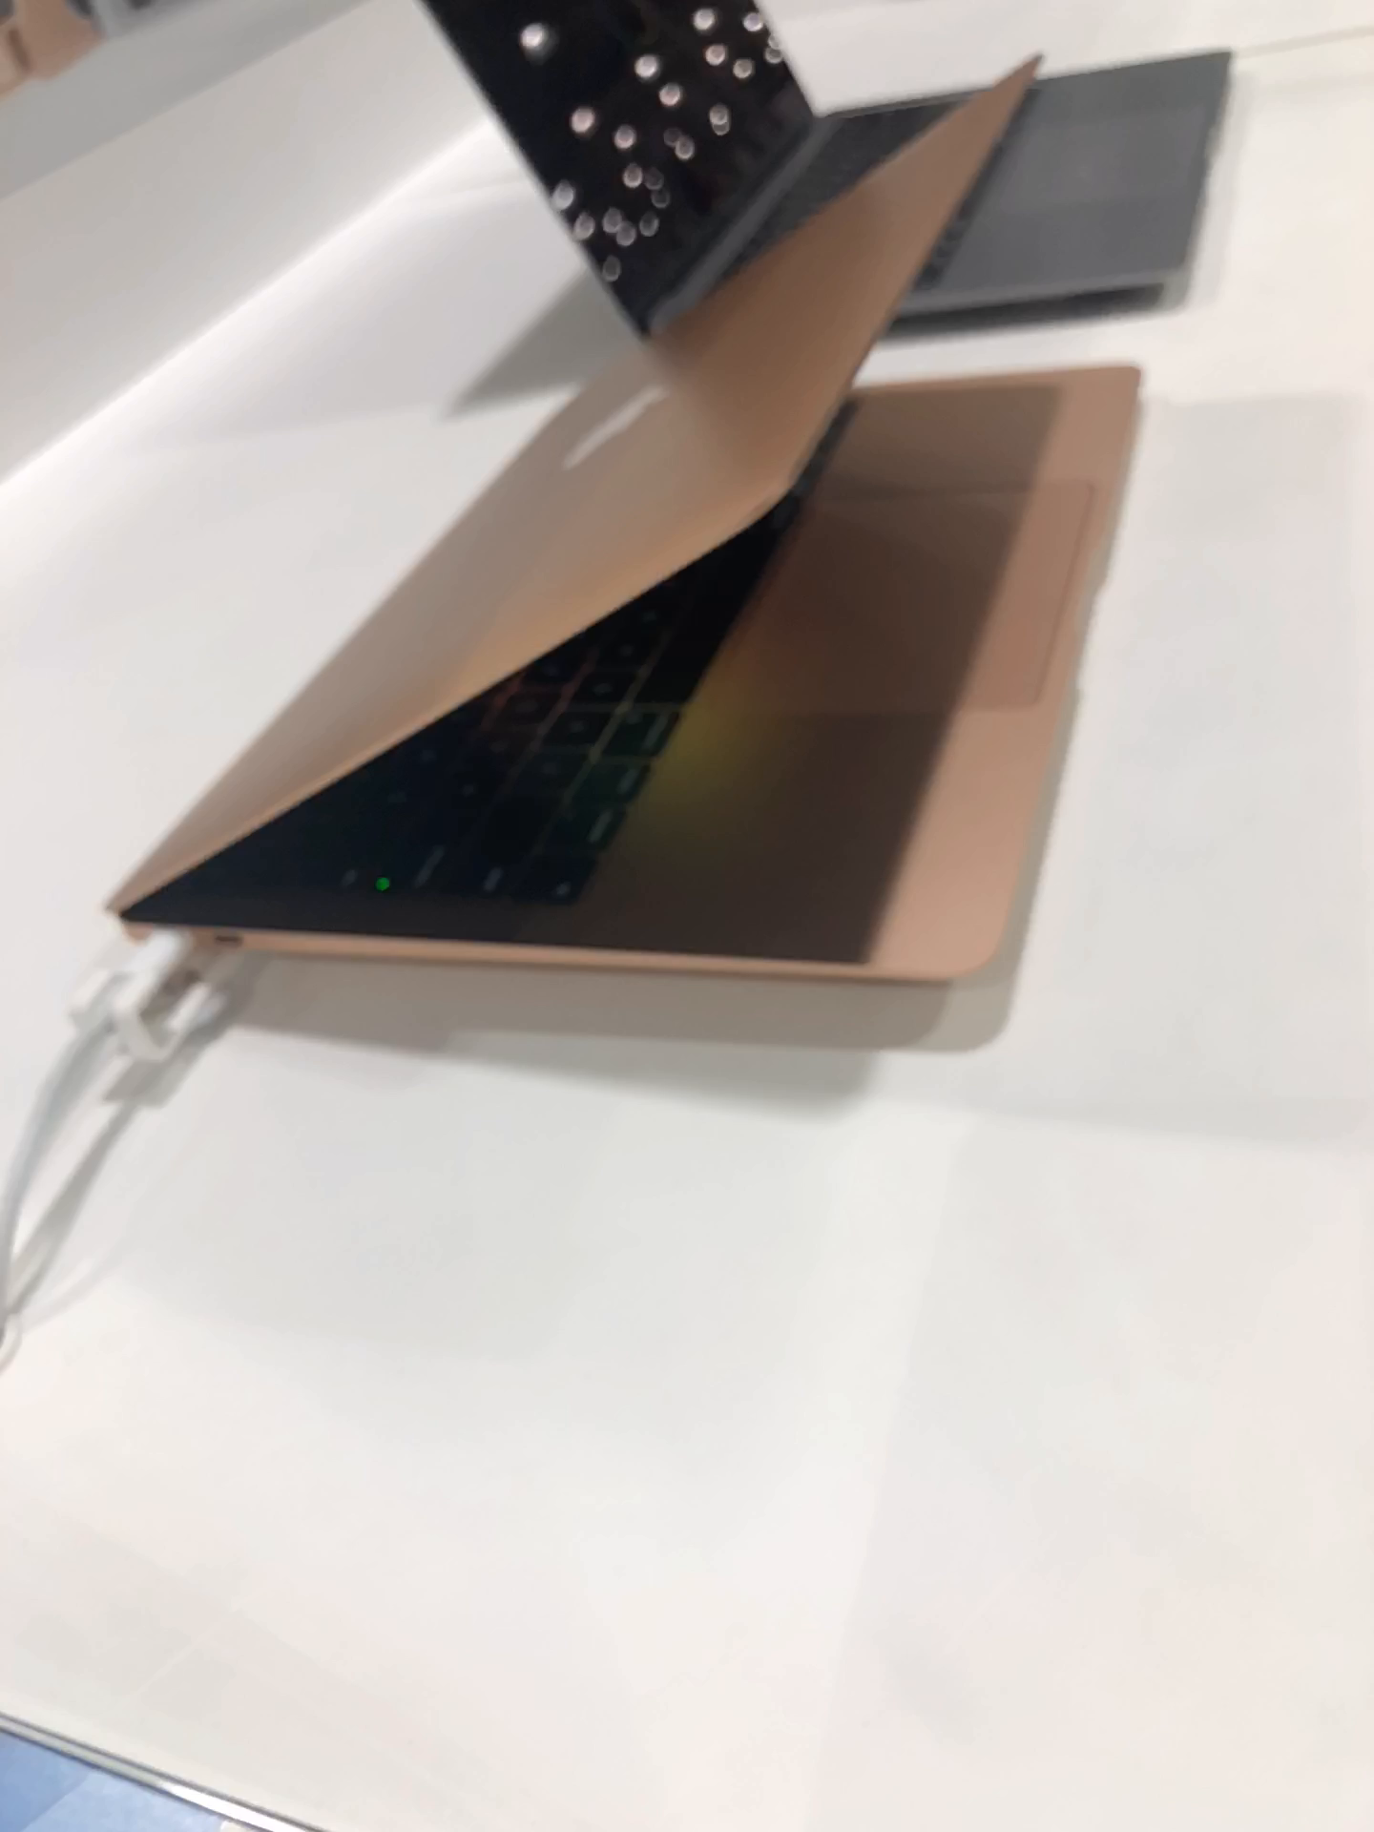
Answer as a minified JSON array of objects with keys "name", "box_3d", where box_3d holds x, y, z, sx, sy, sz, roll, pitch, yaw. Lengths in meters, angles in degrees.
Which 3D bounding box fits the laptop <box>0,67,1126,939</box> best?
[{"name":"laptop","box_3d":[-0.008,-0.123,0.410,0.209,0.091,0.286,1,40,22]}]
